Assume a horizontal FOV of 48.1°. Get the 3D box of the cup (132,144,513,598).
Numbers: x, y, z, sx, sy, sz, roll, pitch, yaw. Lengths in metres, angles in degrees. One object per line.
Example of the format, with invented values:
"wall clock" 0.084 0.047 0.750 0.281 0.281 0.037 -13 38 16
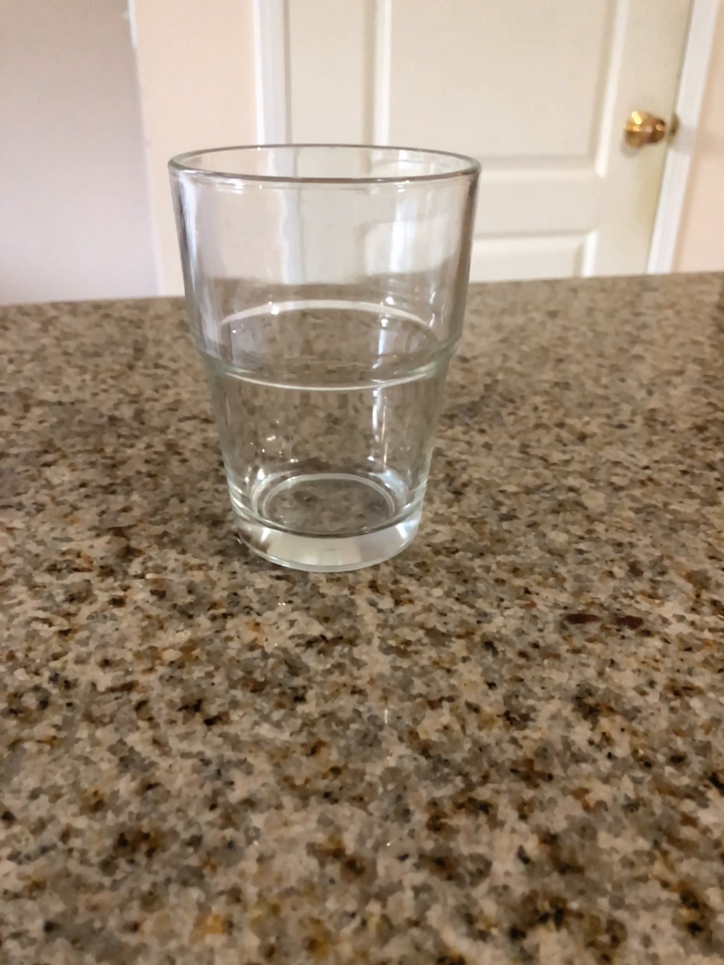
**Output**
"cup" -0.008 -0.037 0.228 0.070 0.100 0.070 1 27 0
